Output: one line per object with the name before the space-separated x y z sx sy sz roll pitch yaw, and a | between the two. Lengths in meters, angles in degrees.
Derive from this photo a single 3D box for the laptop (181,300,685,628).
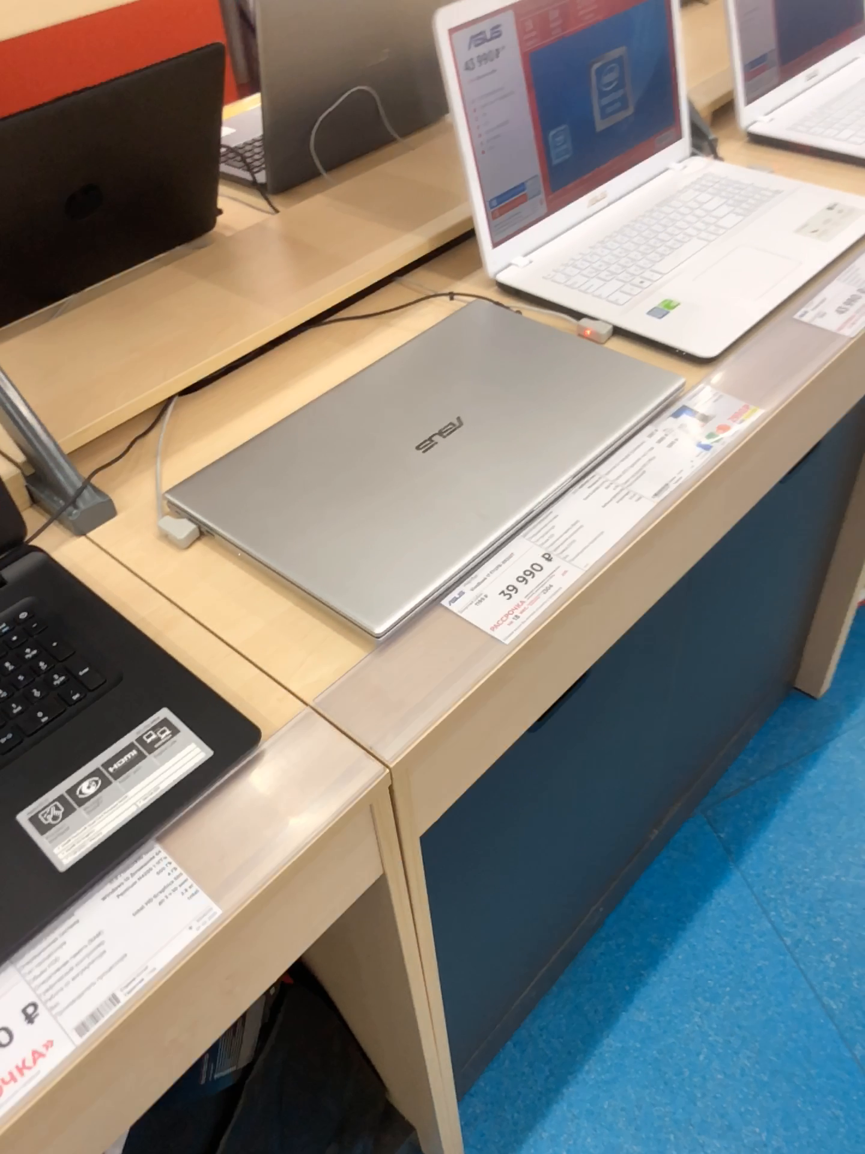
laptop | 0.011 -0.125 0.825 0.233 0.006 0.393 32 54 30
